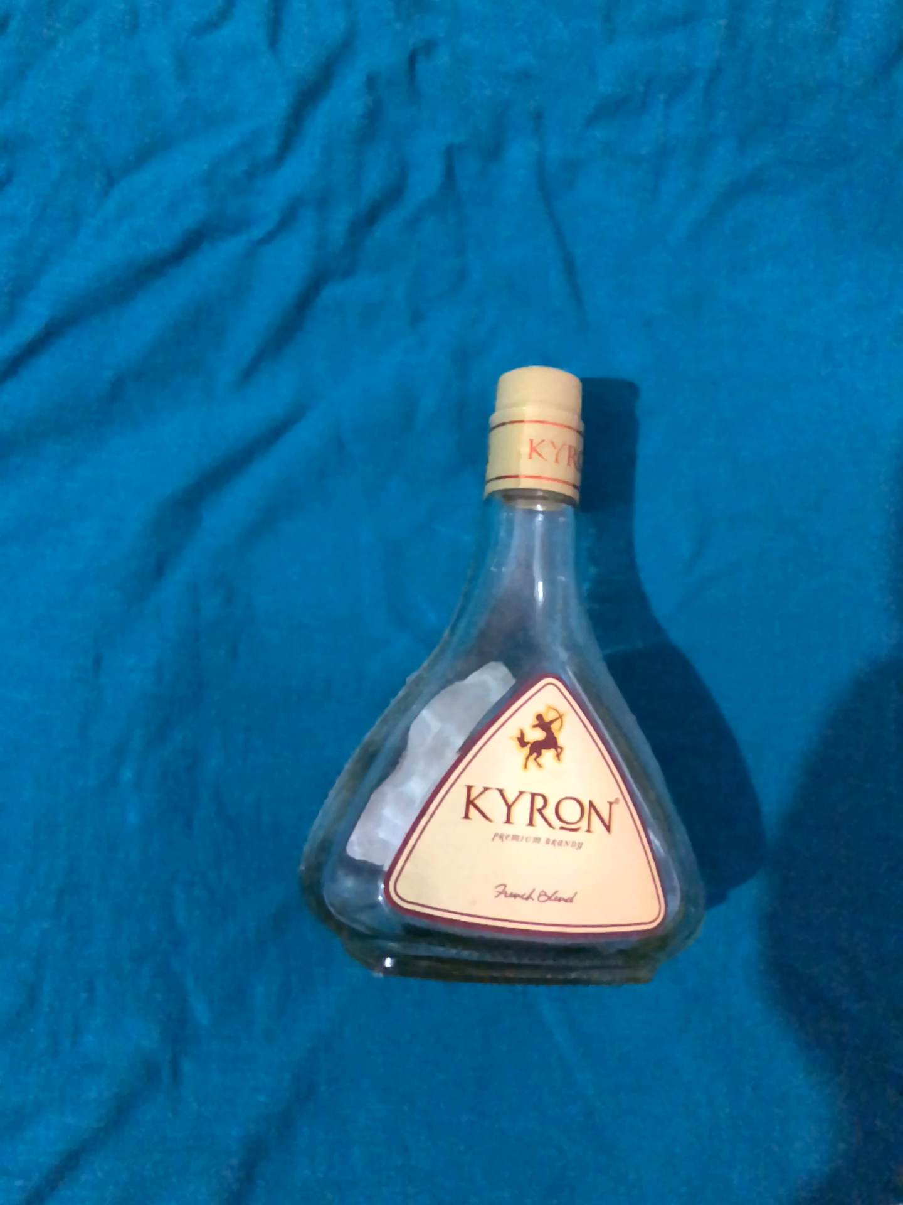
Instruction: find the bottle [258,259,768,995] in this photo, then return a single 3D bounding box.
[{"bbox_3d":[0.016,0.011,0.290,0.120,0.060,0.180,6,85,-14],"label":"bottle"}]
